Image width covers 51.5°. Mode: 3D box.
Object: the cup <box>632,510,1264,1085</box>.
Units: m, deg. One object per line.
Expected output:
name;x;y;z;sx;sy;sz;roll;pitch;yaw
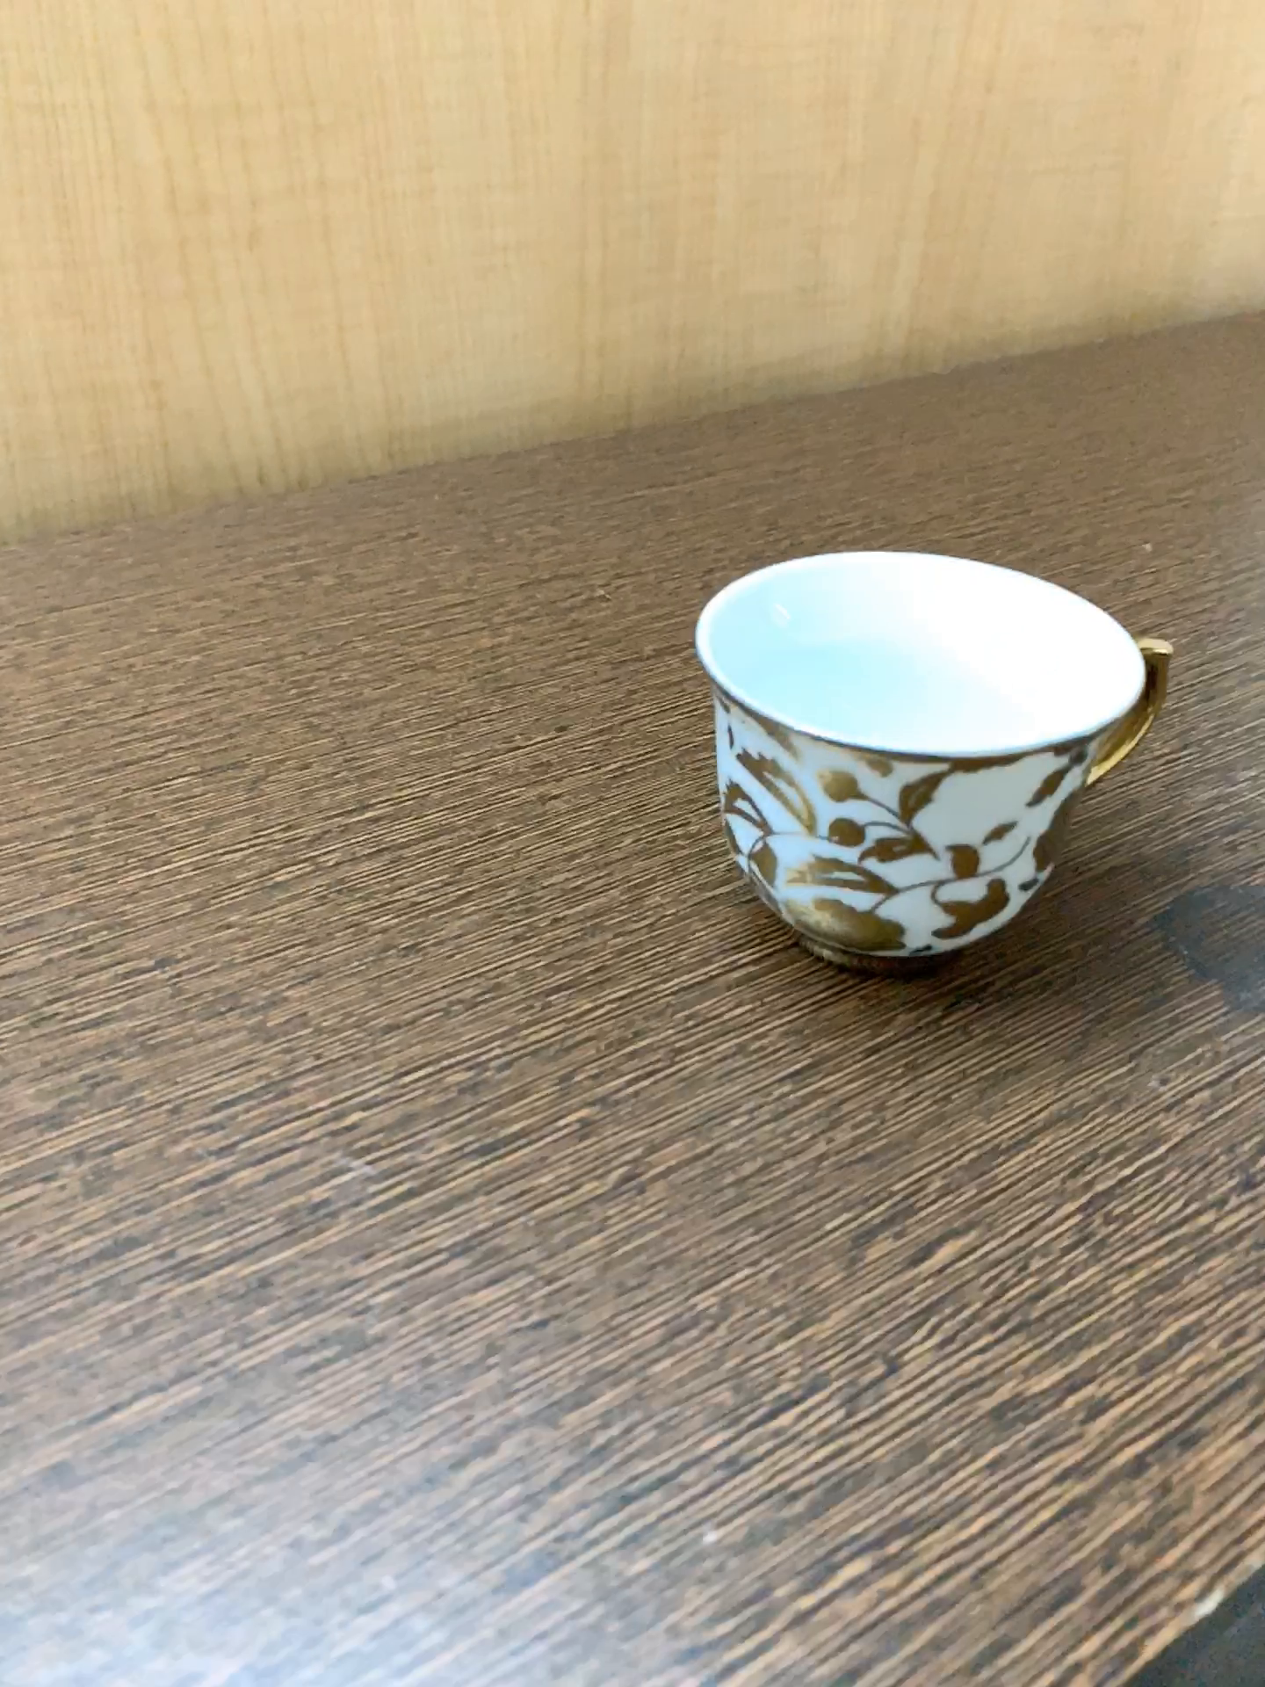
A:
cup;0.052;-0.014;0.216;0.080;0.050;0.071;-15;37;-23

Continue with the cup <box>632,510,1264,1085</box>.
cup;0.052;-0.014;0.216;0.080;0.050;0.071;-15;37;-23
